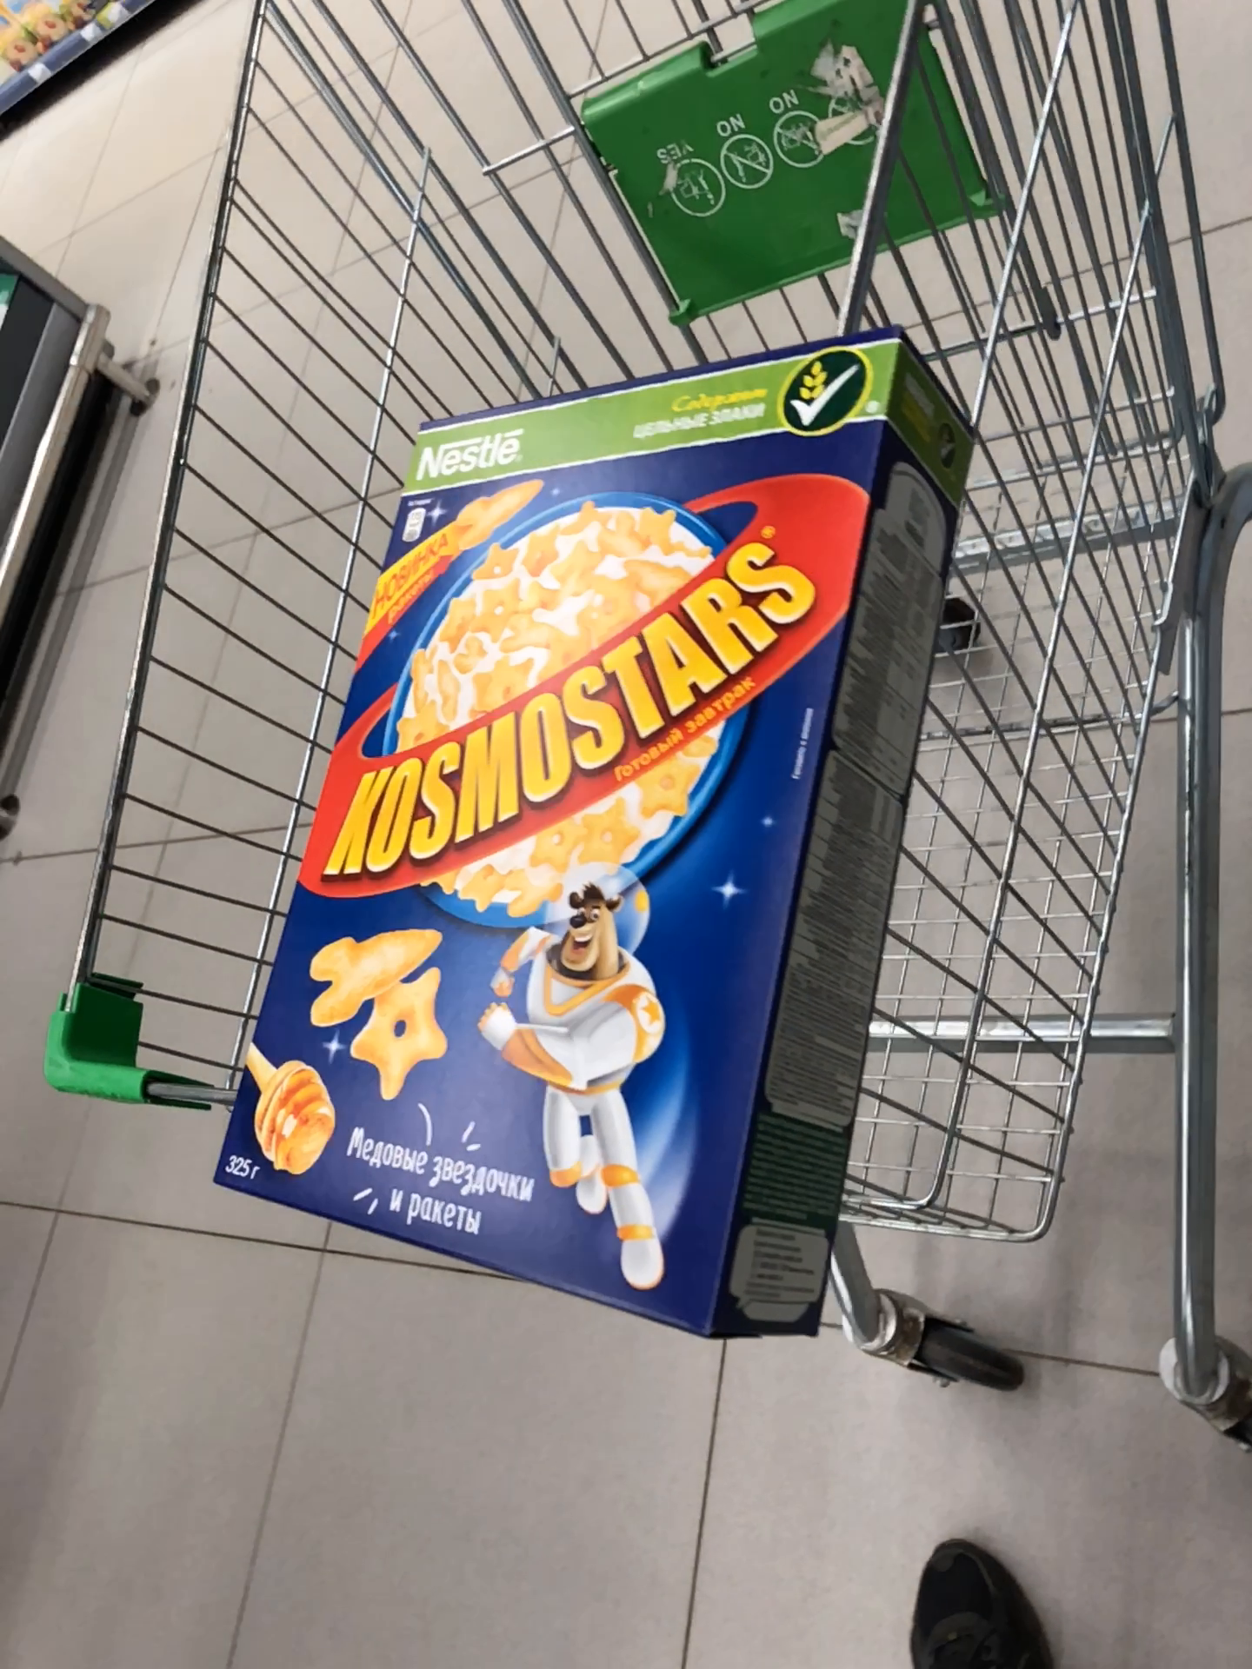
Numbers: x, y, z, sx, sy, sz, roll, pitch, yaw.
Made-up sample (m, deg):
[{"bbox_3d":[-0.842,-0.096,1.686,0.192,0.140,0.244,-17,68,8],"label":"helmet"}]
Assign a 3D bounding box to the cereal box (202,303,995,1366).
[{"bbox_3d":[-0.011,-0.006,0.431,0.201,0.060,0.280,1,73,39],"label":"cereal box"}]
